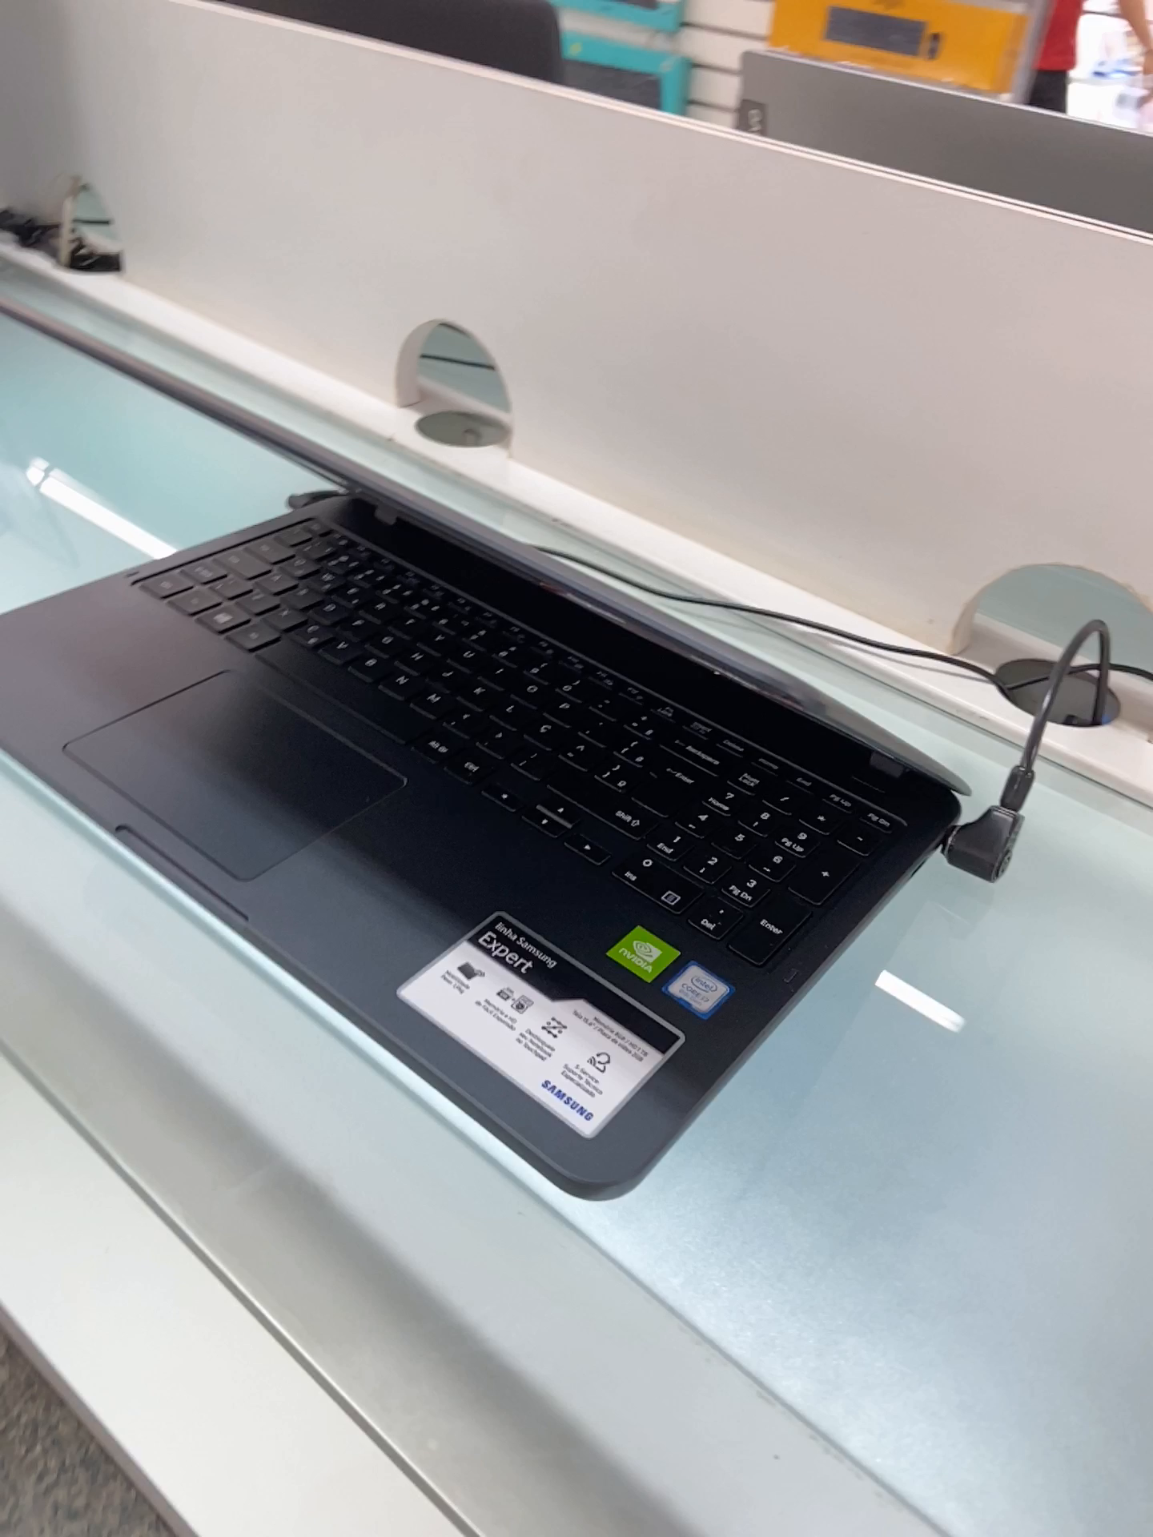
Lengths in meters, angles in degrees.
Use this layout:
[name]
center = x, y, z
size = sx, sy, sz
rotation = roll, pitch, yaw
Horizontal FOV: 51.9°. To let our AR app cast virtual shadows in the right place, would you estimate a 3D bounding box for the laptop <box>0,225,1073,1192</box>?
[laptop]
center = -0.056, -0.072, 0.456
size = 0.377, 0.139, 0.240
rotation = 30, 44, 27
